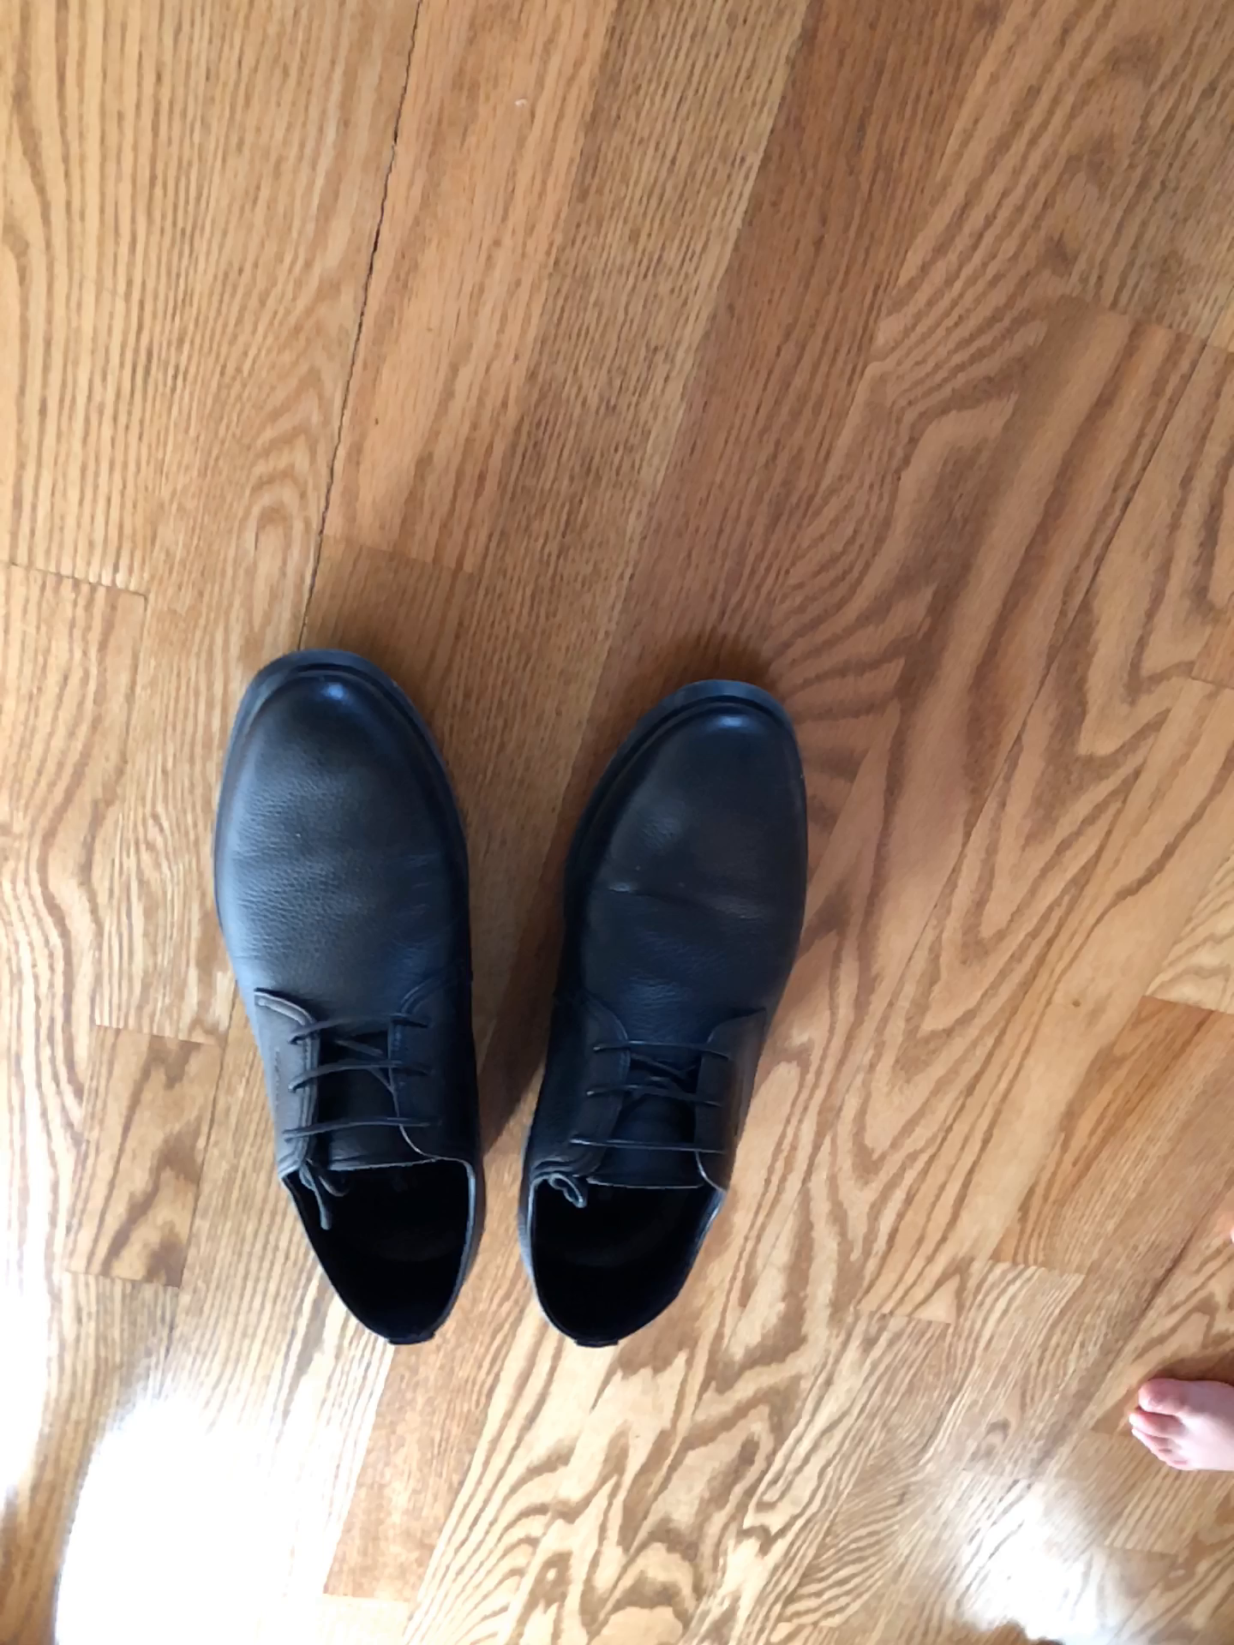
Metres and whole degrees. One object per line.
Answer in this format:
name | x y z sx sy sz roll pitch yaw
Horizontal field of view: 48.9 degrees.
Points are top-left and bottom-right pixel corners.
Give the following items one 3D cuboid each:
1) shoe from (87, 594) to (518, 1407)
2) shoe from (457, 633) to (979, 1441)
shoe | -0.106 0.077 0.547 0.110 0.124 0.305 -4 119 -2
shoe | 0.022 0.095 0.552 0.110 0.124 0.300 11 117 -10
